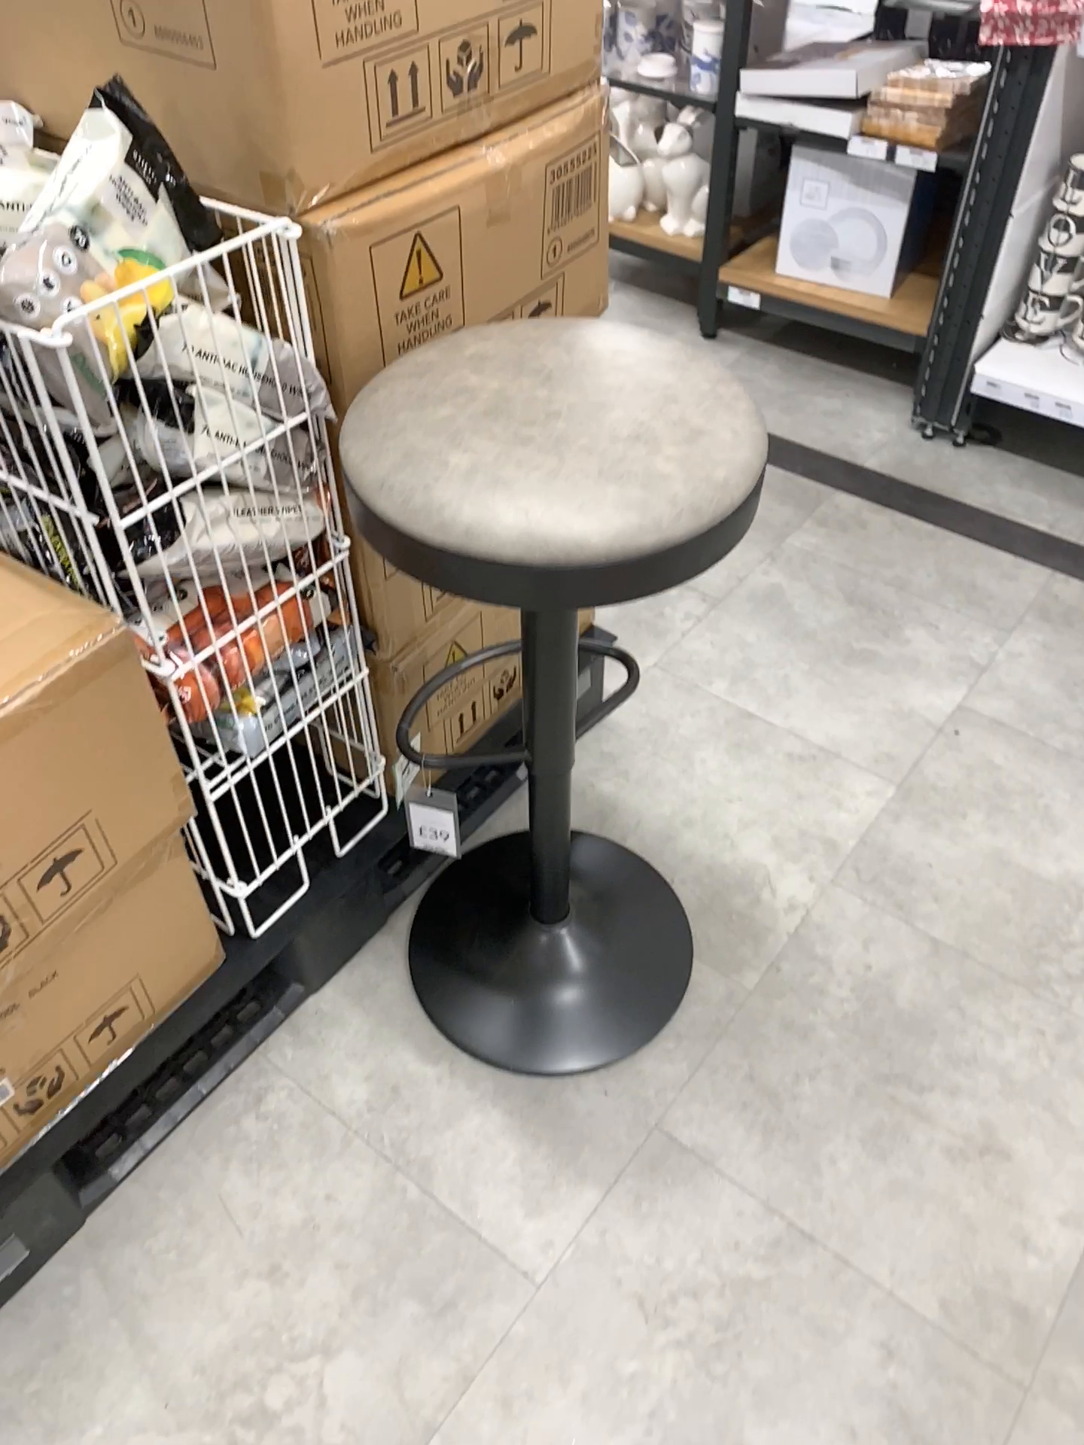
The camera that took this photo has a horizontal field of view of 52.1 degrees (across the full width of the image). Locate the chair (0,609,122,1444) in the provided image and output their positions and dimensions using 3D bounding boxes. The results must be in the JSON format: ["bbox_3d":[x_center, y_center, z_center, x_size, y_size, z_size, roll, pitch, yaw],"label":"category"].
[{"bbox_3d":[-0.710,0.427,0.698,0.455,0.721,0.510,32,53,28],"label":"chair"}]

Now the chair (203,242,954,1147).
[{"bbox_3d":[0.019,-0.013,1.182,0.459,0.740,0.436,-26,50,-23],"label":"chair"}]
